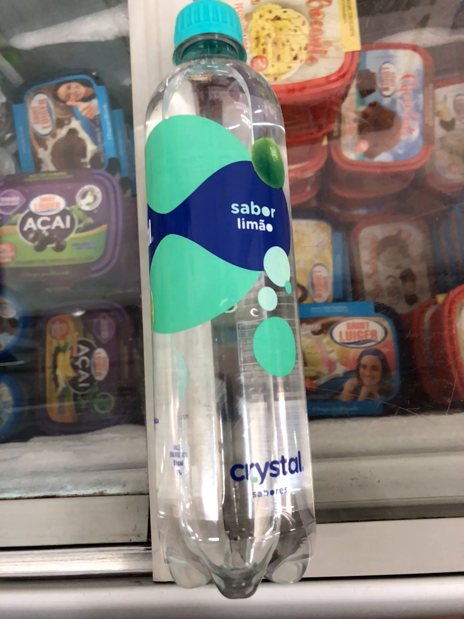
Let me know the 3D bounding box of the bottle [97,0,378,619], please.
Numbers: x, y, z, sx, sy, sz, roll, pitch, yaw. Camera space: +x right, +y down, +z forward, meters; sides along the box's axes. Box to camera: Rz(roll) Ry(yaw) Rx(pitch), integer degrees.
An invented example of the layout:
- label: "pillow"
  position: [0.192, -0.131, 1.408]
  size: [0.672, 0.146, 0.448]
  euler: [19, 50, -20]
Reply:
- label: "bottle"
  position: [-0.005, -0.009, 0.214]
  size: [0.070, 0.070, 0.240]
  euler: [-3, 85, -27]
